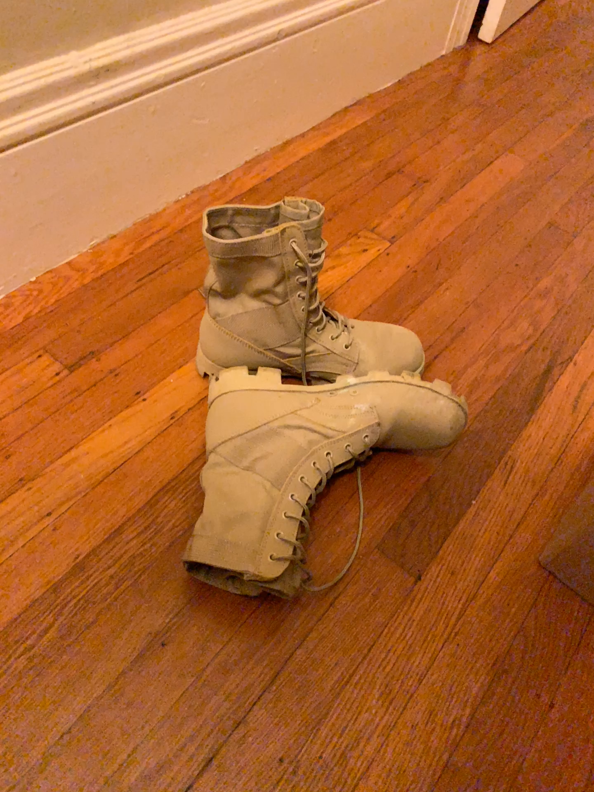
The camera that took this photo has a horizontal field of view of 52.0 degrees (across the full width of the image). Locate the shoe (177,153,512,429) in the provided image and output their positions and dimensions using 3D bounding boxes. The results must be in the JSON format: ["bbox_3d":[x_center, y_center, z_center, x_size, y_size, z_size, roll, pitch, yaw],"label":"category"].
[{"bbox_3d":[0.034,-0.108,0.673,0.300,0.199,0.191,4,53,-5],"label":"shoe"}]

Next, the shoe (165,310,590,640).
[{"bbox_3d":[0.058,0.063,0.567,0.310,0.119,0.251,7,44,-3],"label":"shoe"}]
